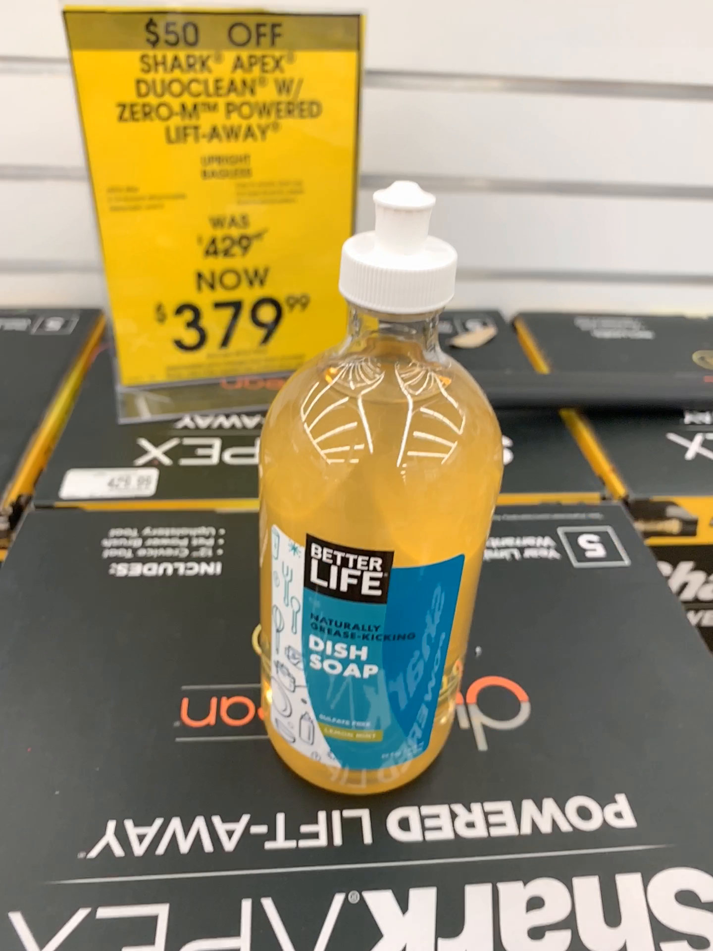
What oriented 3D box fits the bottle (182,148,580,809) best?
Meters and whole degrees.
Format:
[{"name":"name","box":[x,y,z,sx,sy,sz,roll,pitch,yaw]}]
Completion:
[{"name":"bottle","box":[0.007,0.009,0.264,0.090,0.209,0.090,2,35,-1]}]
